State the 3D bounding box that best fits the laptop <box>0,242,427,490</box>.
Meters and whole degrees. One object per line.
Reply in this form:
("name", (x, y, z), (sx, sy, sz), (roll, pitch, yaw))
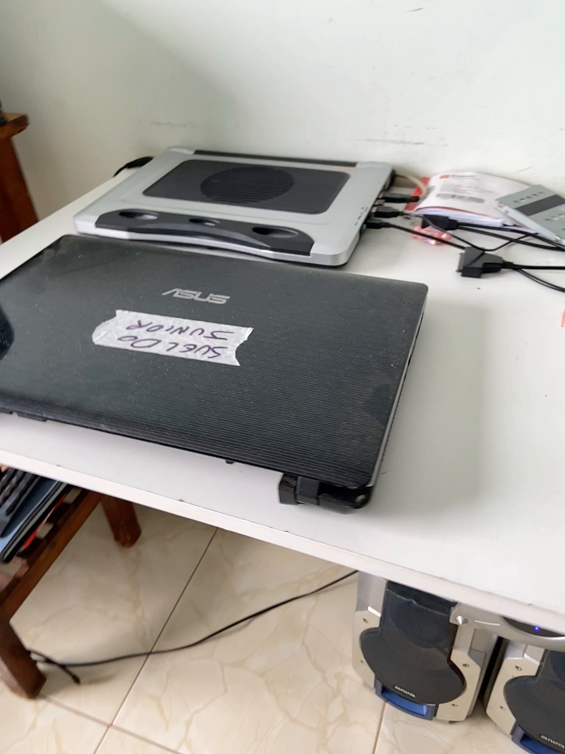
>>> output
("laptop", (-0.090, -0.038, 0.454), (0.362, 0.001, 0.238), (10, 40, 17))
